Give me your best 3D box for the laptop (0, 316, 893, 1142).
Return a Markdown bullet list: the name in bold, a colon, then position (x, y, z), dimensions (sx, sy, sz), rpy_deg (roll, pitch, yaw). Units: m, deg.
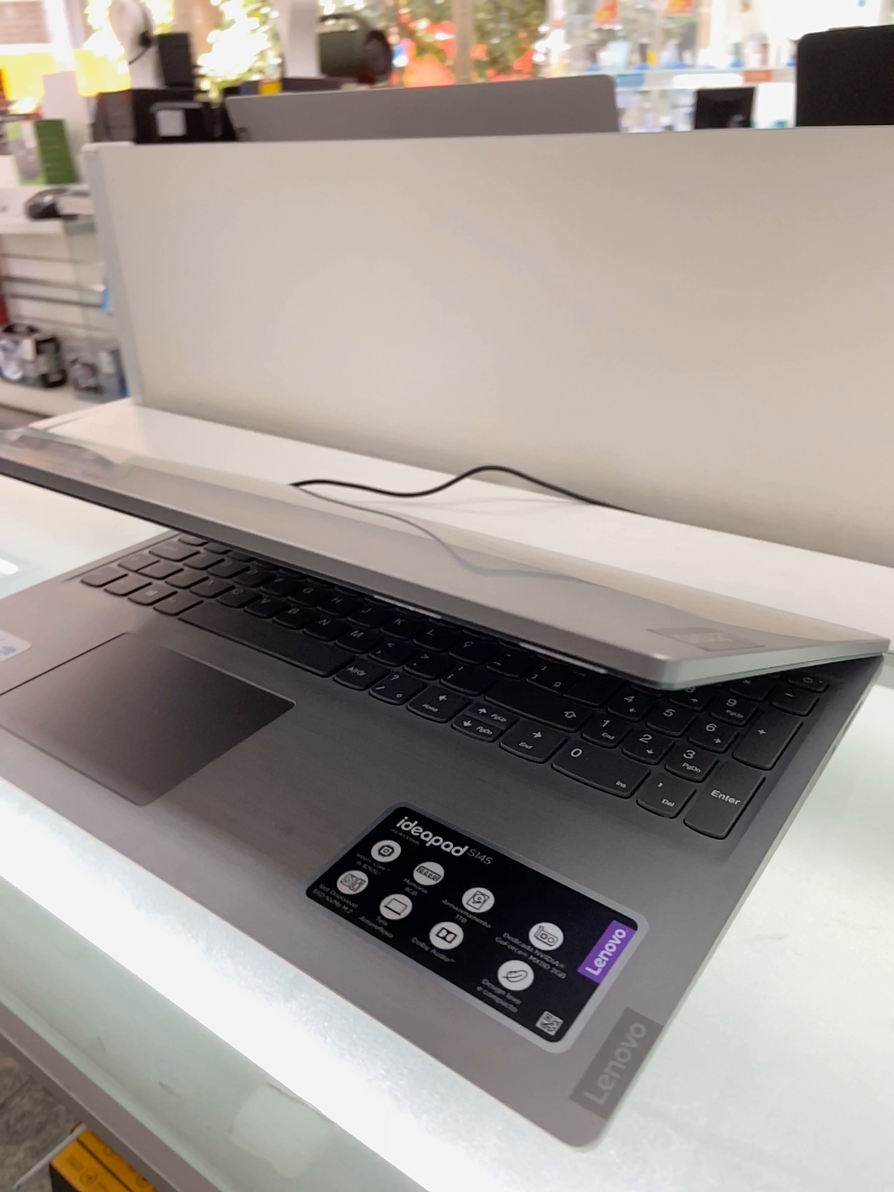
- **laptop**: position (-0.044, -0.020, 0.354), dimensions (0.354, 0.104, 0.240), rpy_deg (17, 33, 33)
